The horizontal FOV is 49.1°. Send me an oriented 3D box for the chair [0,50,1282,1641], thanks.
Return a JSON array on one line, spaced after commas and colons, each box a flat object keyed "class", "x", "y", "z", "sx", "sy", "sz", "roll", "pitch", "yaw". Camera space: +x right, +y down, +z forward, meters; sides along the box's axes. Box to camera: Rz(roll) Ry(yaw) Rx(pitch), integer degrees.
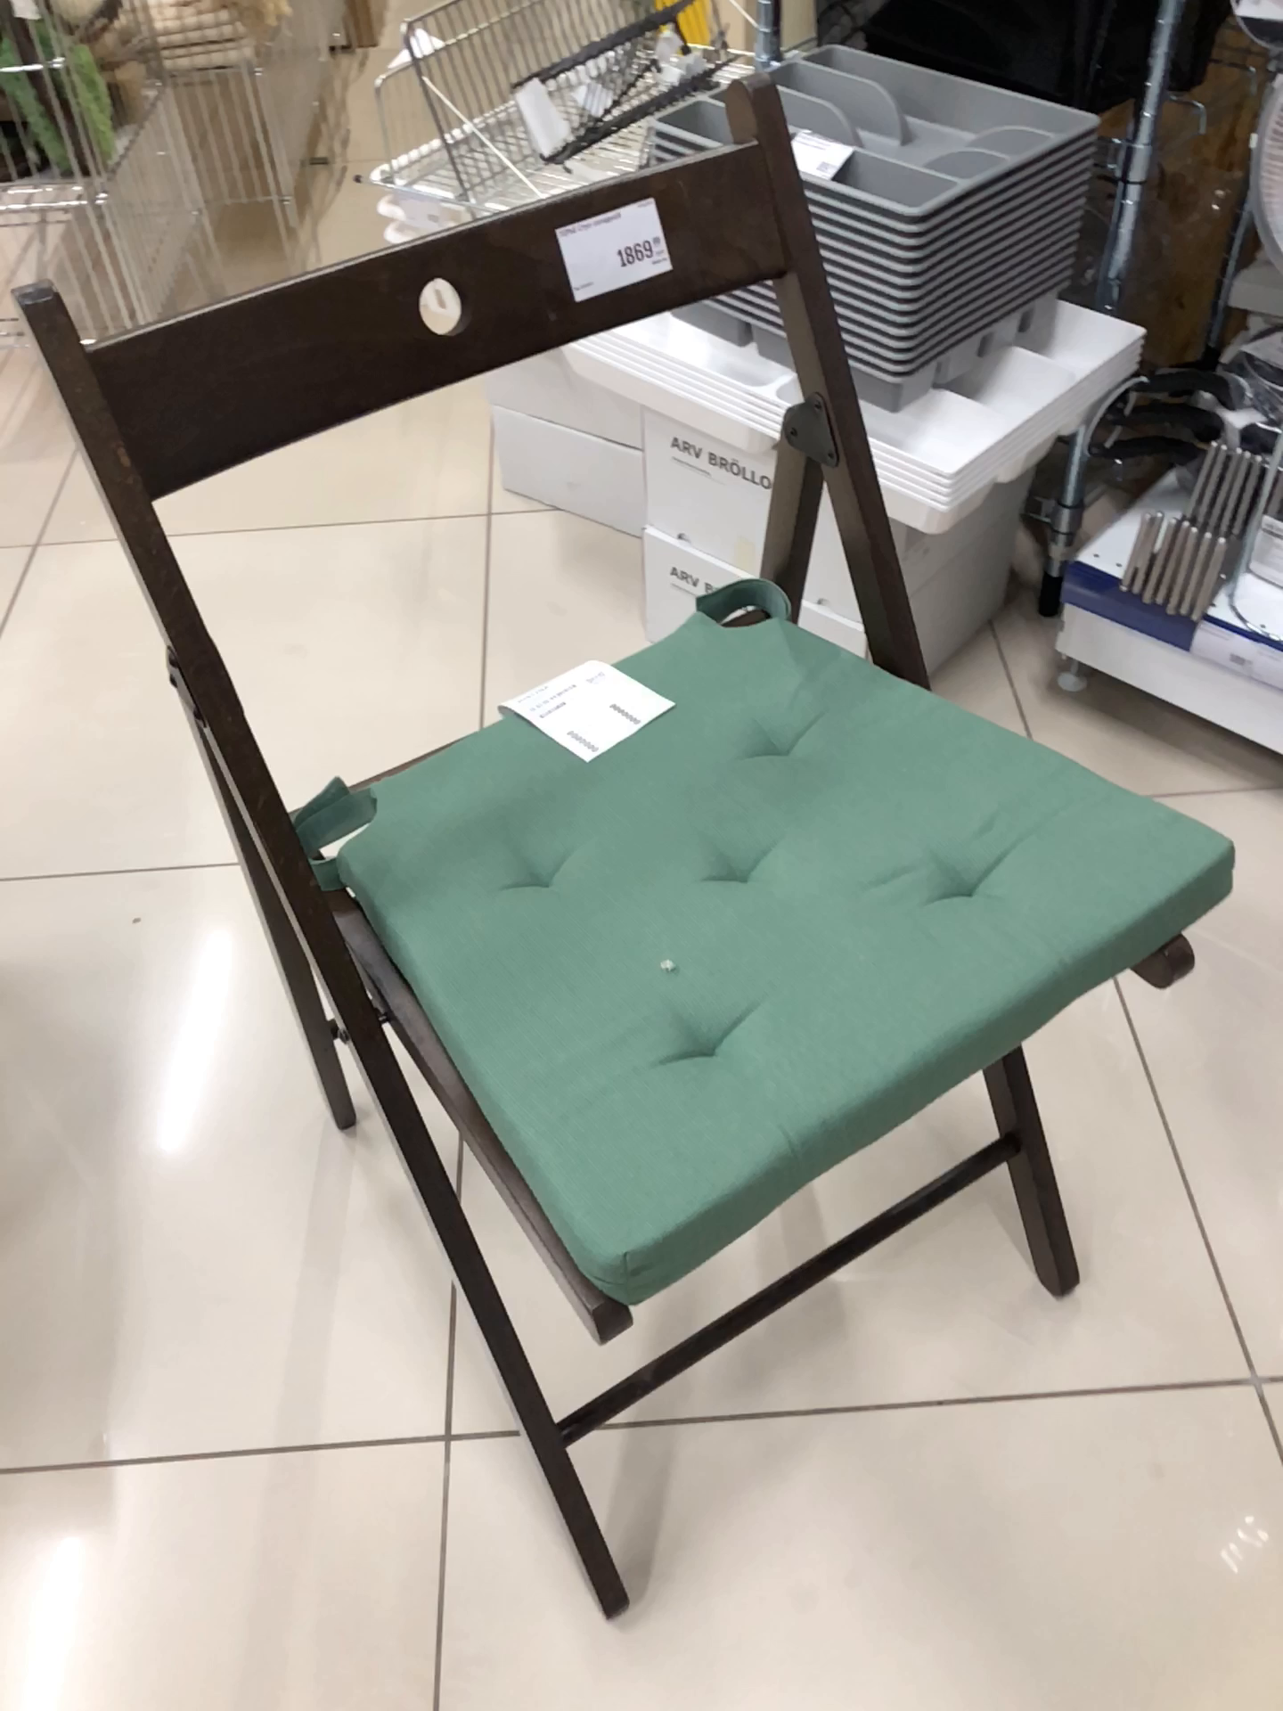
[{"class": "chair", "x": 0.009, "y": 0.013, "z": 0.832, "sx": 0.441, "sy": 0.686, "sz": 0.482, "roll": -27, "pitch": 51, "yaw": -20}]
